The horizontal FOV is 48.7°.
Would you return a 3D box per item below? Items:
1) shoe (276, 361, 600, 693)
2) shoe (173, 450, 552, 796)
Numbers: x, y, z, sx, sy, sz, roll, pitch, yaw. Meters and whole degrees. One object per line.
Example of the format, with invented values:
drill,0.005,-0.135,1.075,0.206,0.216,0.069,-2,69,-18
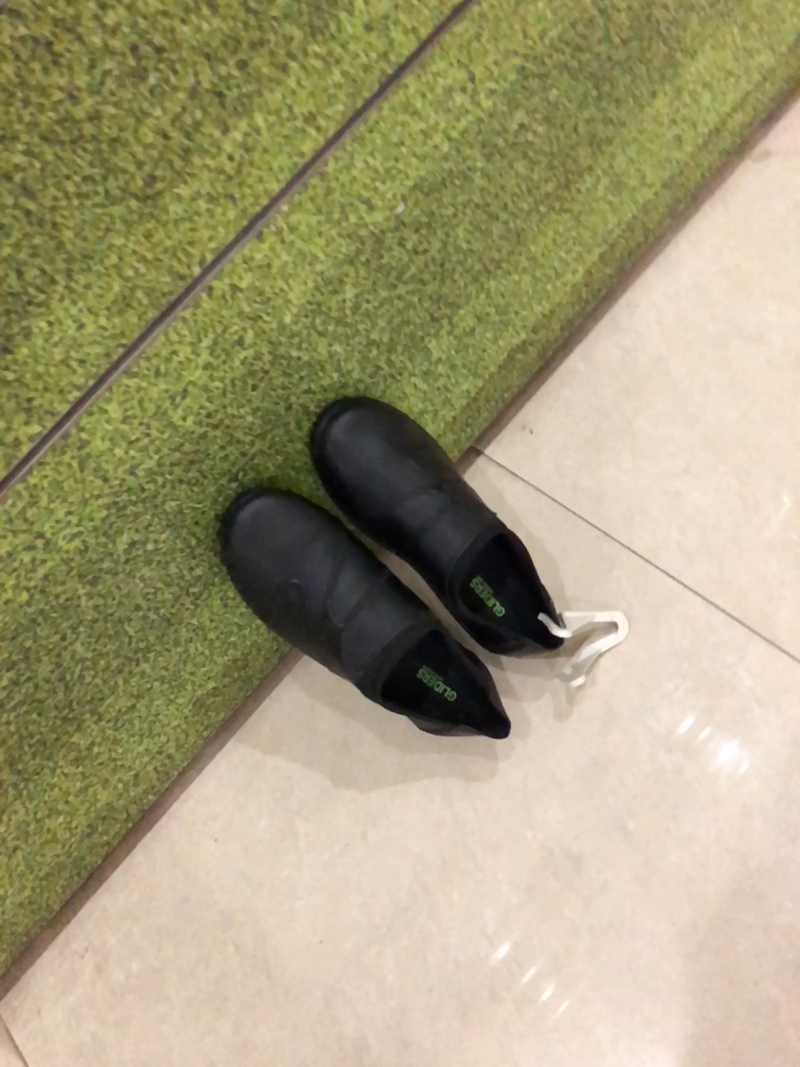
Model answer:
shoe,0.028,-0.002,0.588,0.074,0.229,0.067,-45,24,-3
shoe,-0.028,0.059,0.613,0.087,0.248,0.107,-50,18,-5
